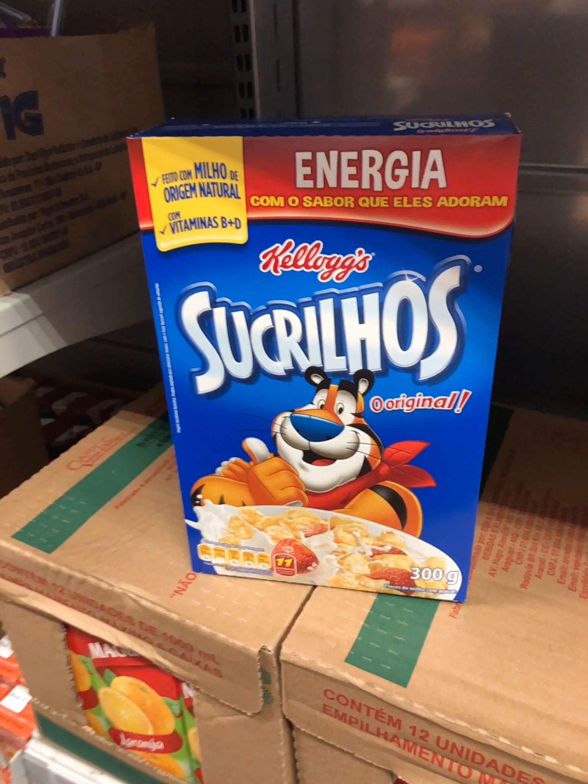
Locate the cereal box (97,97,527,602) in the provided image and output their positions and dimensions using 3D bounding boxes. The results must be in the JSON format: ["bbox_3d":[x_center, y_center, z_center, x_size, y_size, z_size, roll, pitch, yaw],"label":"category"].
[{"bbox_3d":[0.014,-0.012,0.341,0.170,0.248,0.060,4,31,12],"label":"cereal box"}]
